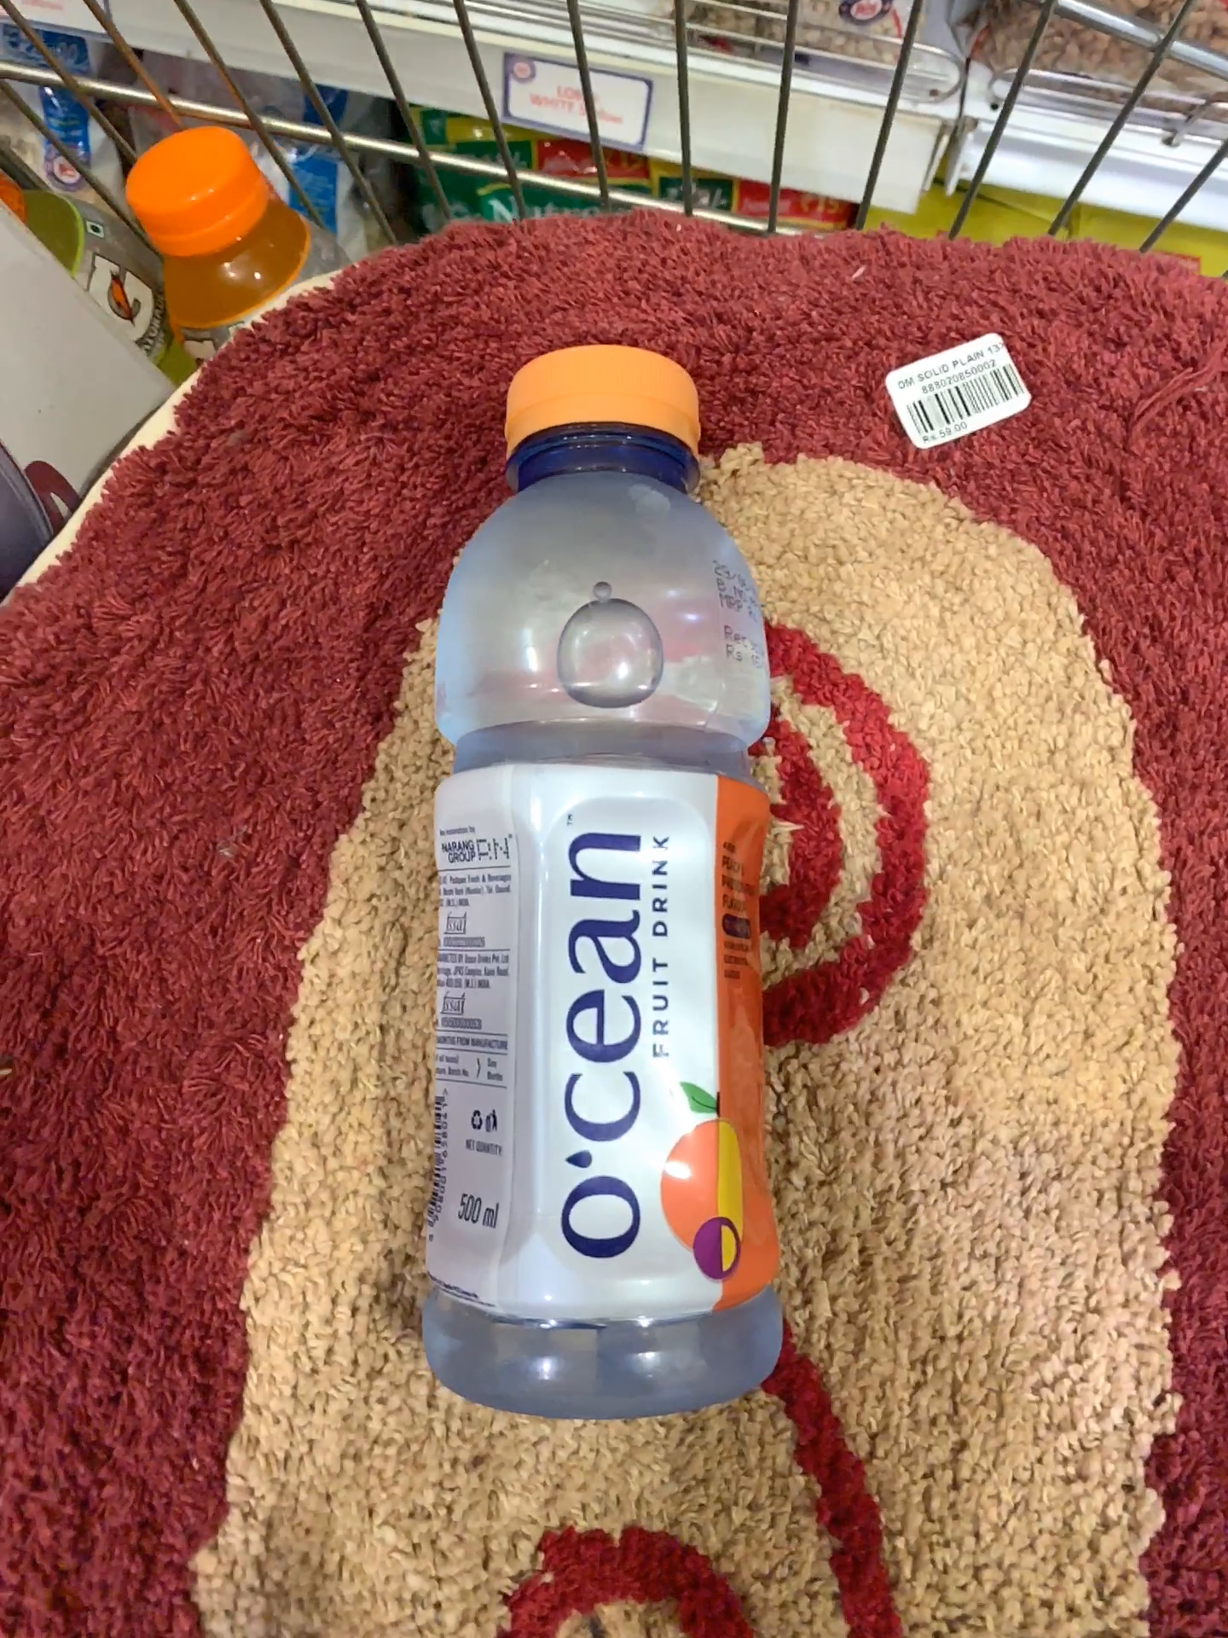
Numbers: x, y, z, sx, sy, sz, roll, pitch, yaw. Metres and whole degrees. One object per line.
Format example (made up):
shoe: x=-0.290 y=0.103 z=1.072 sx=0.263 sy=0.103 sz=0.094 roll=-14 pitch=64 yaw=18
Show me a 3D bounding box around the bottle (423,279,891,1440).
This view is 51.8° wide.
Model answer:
bottle: x=0.005 y=0.007 z=0.231 sx=0.070 sy=0.060 sz=0.180 roll=2 pitch=87 yaw=-8
